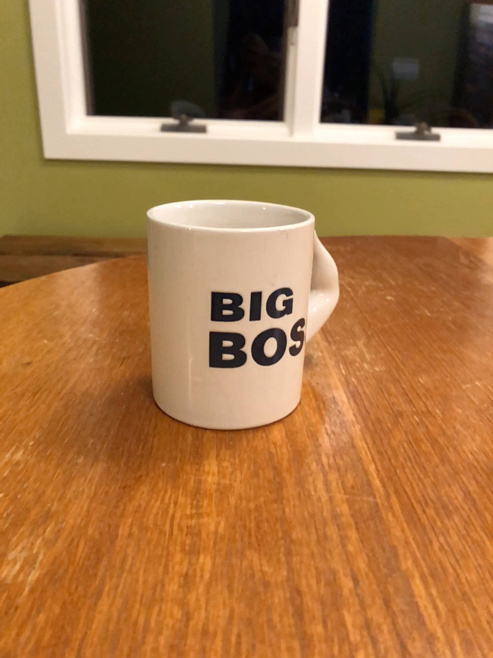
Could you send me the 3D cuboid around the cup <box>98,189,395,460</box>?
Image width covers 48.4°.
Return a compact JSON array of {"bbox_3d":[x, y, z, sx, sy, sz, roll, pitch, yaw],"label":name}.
[{"bbox_3d":[0.005,-0.017,0.306,0.087,0.100,0.139,19,27,37],"label":"cup"}]
